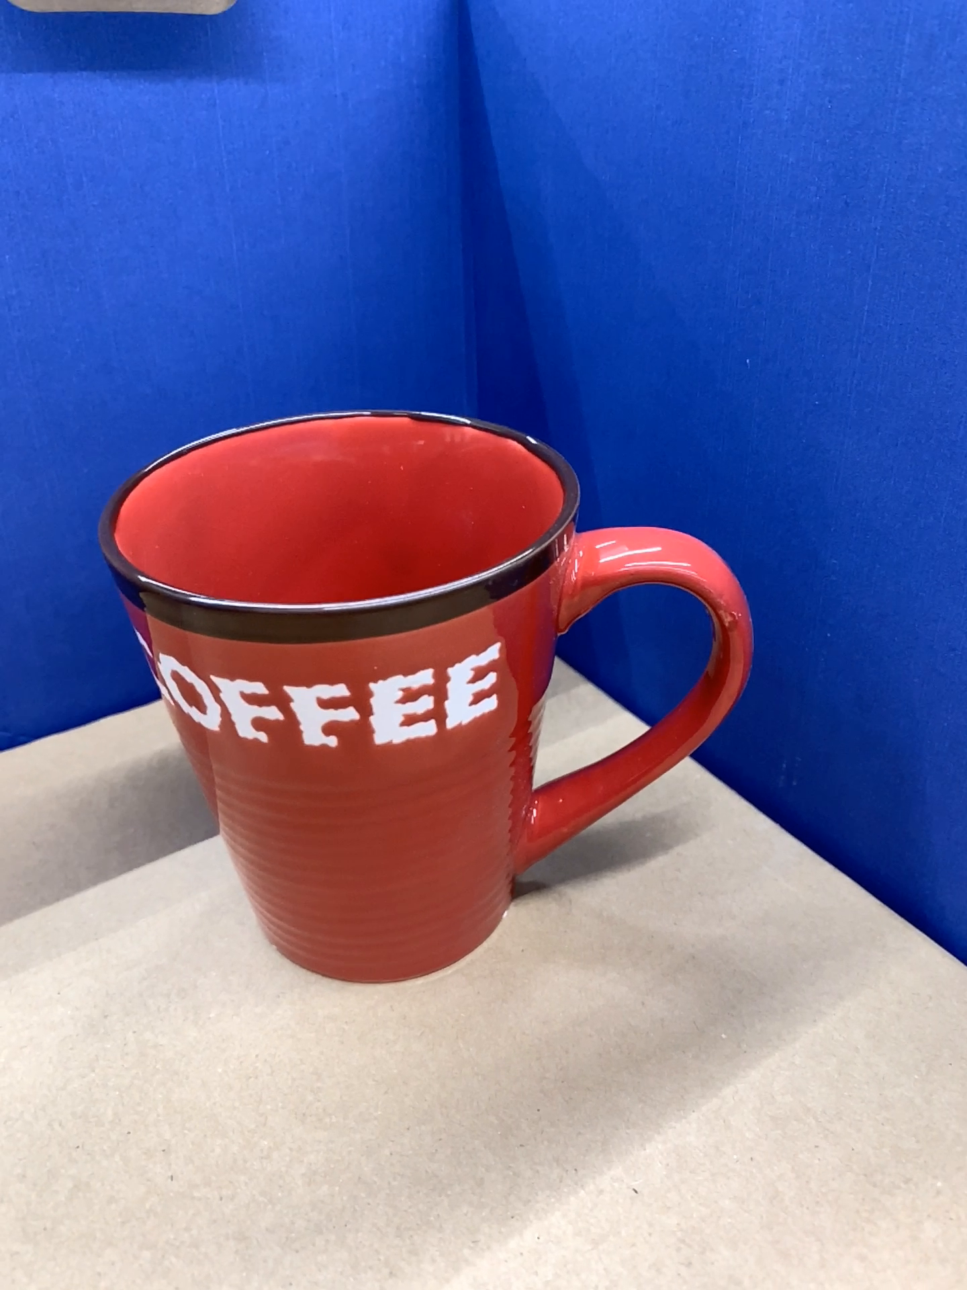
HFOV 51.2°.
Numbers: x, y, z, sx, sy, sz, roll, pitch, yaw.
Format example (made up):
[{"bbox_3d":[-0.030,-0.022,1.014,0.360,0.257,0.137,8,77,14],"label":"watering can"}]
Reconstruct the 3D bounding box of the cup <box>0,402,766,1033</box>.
[{"bbox_3d":[-0.013,0.007,0.225,0.125,0.092,0.101,3,30,6],"label":"cup"}]
